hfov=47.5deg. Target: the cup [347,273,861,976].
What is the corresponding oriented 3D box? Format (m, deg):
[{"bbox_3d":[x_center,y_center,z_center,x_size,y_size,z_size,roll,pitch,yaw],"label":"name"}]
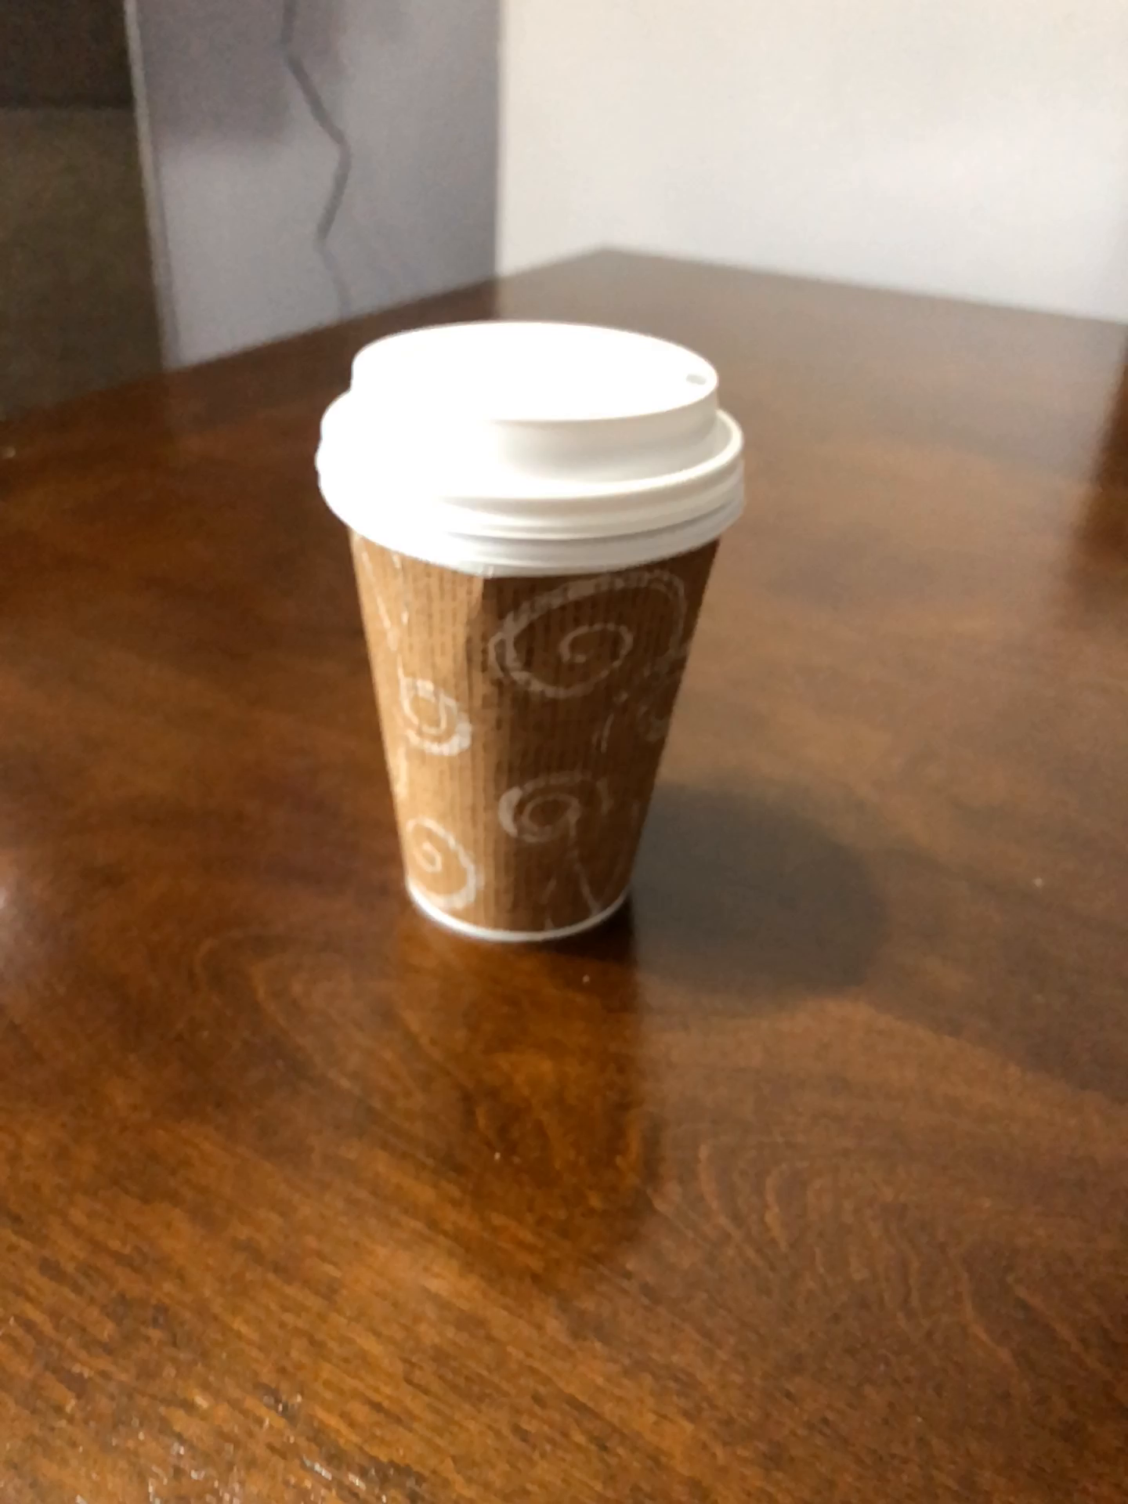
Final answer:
[{"bbox_3d":[-0.002,-0.026,0.233,0.070,0.100,0.080,-2,31,-9],"label":"cup"}]
